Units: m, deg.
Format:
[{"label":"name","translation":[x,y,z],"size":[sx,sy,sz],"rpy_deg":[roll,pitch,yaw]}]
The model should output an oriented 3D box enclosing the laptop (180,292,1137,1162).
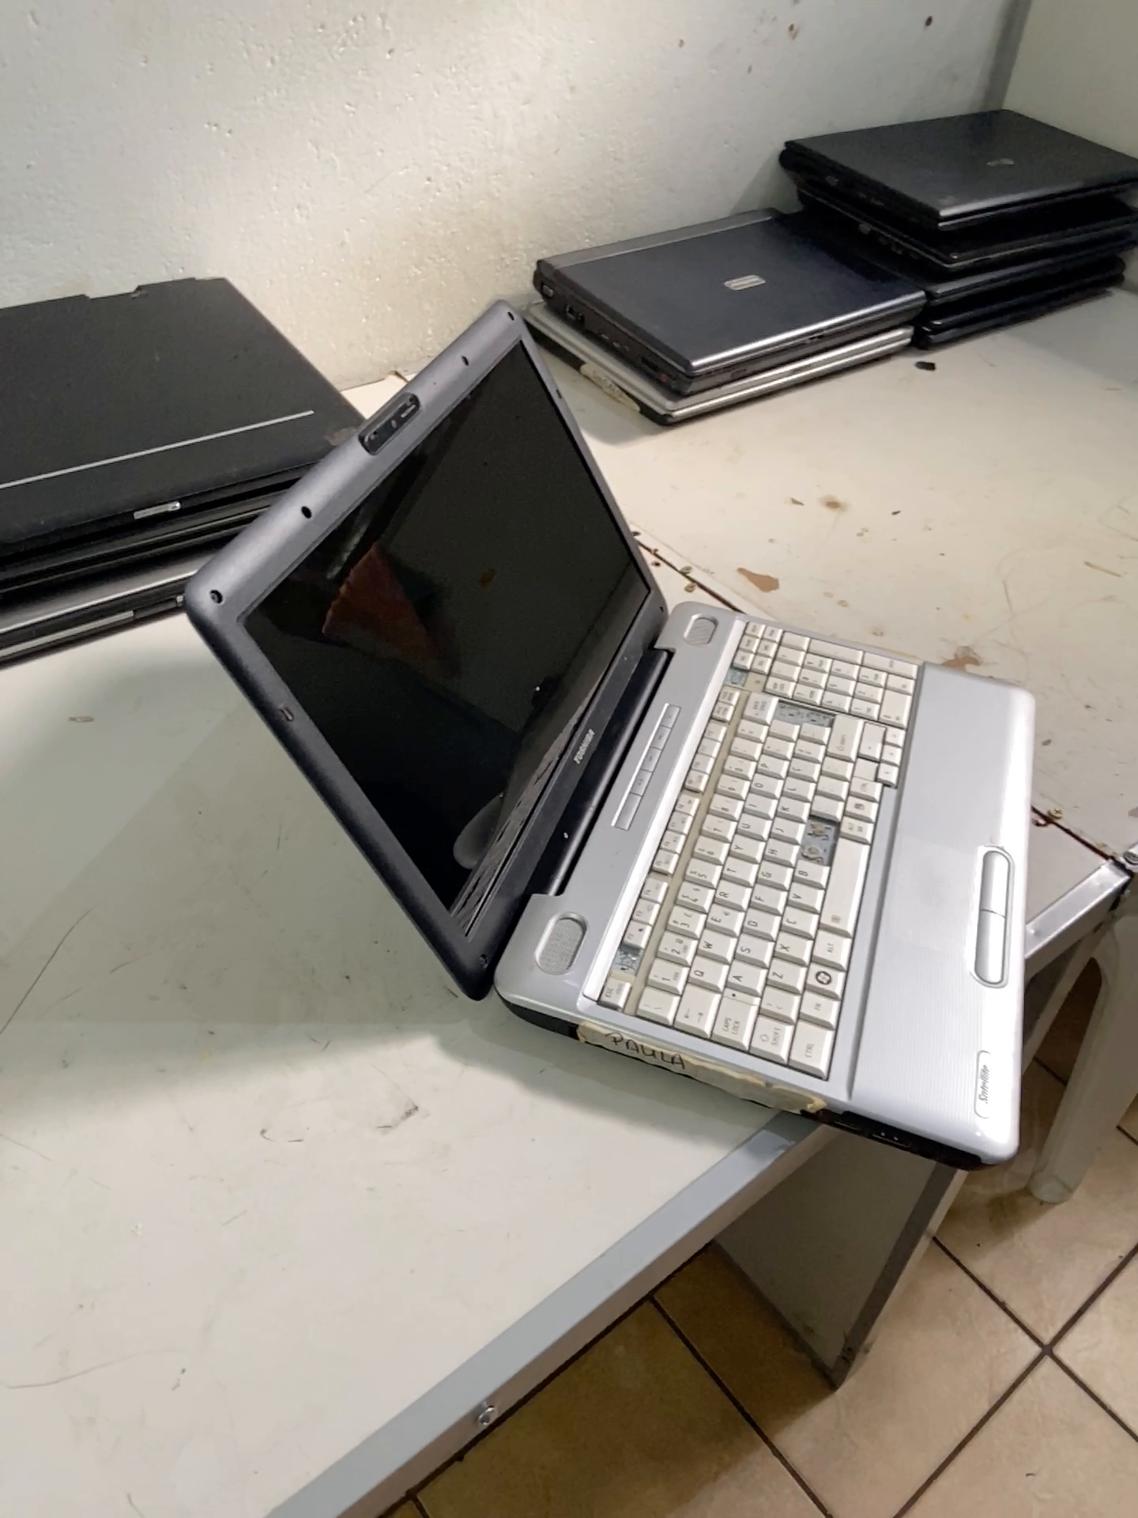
[{"label":"laptop","translation":[0.079,-0.059,0.639],"size":[0.399,0.190,0.373],"rpy_deg":[16,43,11]}]
